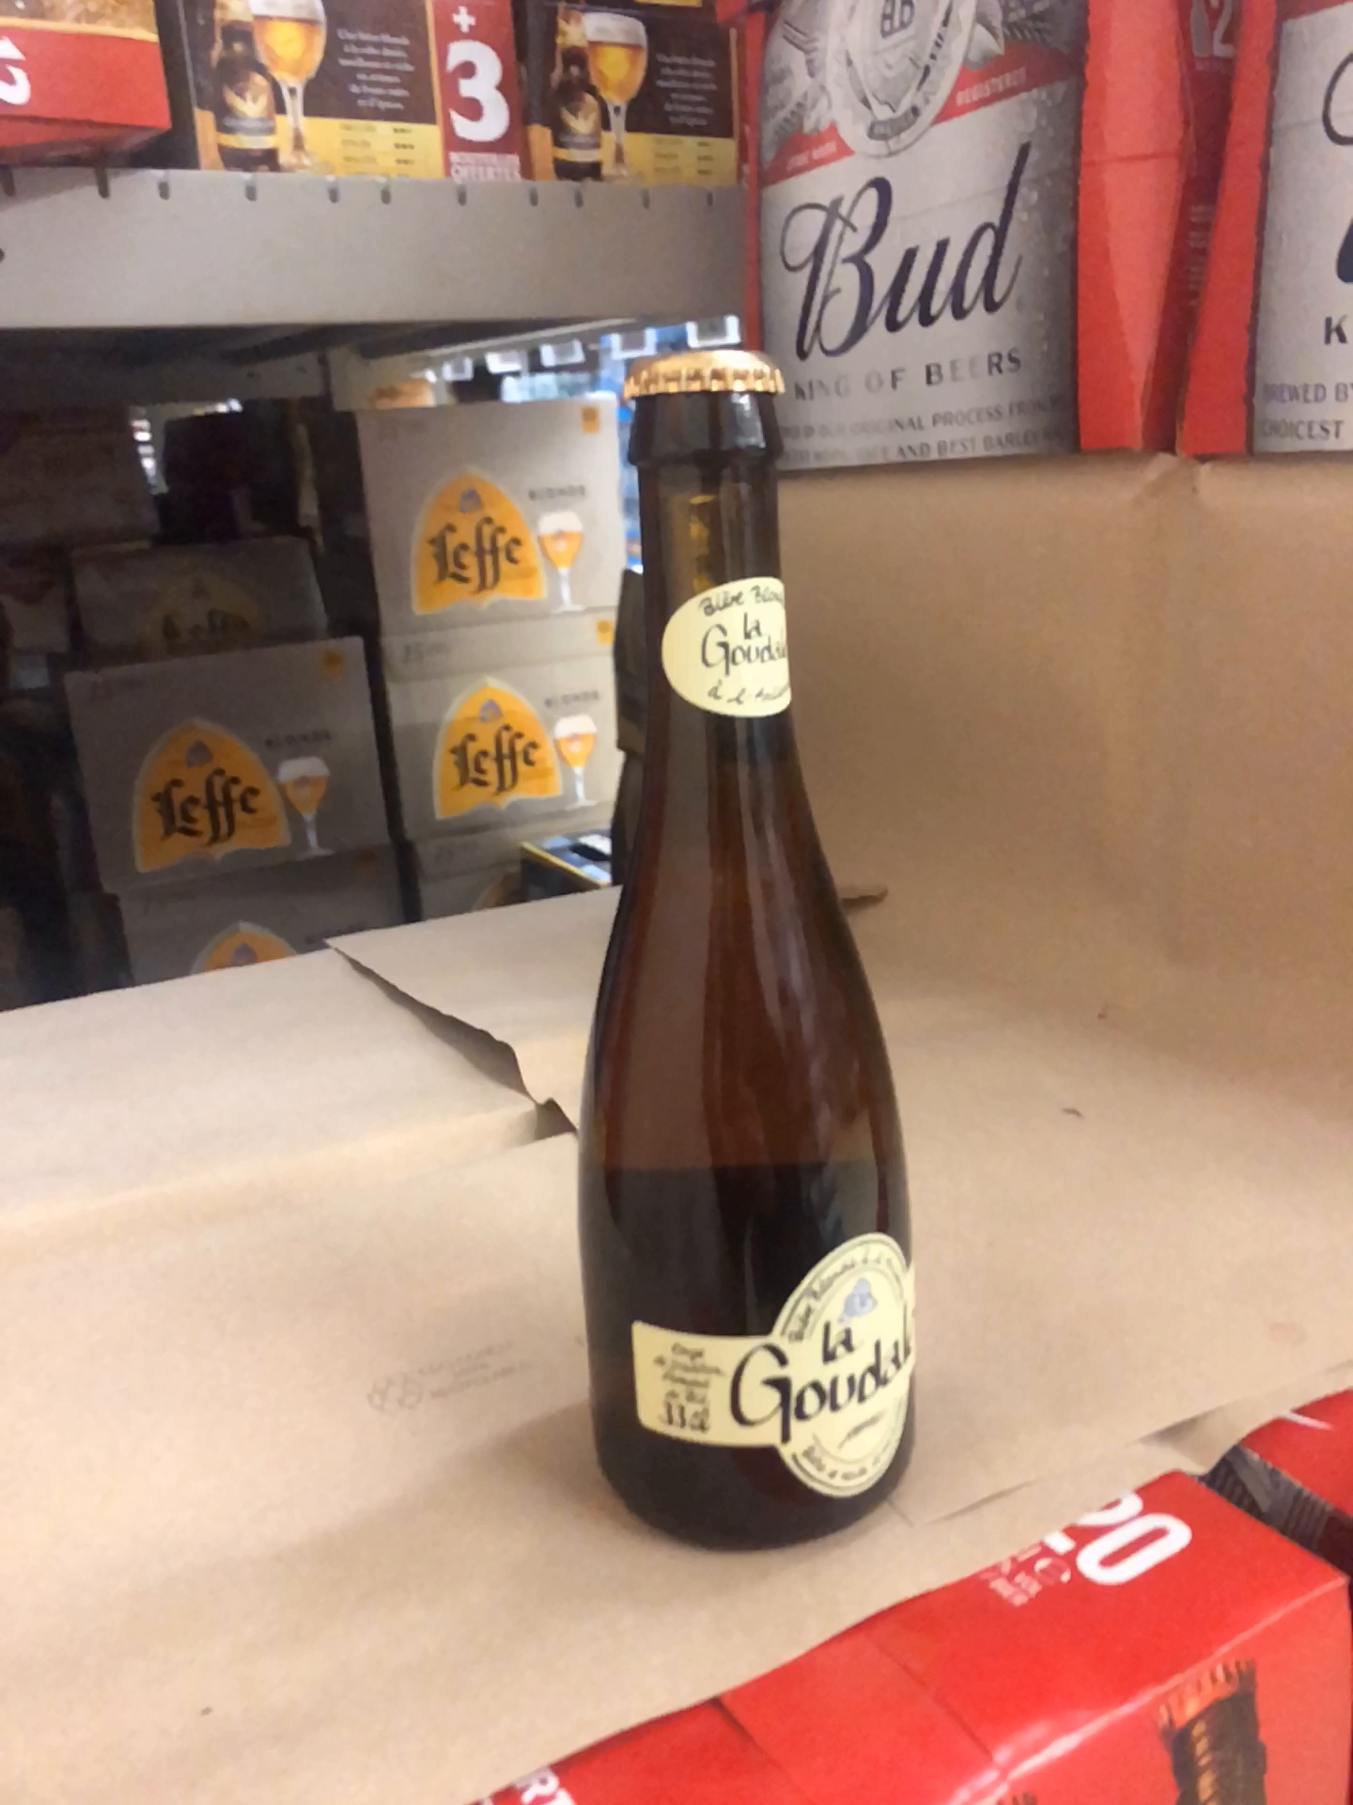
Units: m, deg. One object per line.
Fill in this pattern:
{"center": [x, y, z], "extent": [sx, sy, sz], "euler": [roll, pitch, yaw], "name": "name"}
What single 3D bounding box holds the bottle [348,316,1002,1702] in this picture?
{"center": [0.004, 0.014, 0.272], "extent": [0.080, 0.219, 0.070], "euler": [-15, 21, -38], "name": "bottle"}
